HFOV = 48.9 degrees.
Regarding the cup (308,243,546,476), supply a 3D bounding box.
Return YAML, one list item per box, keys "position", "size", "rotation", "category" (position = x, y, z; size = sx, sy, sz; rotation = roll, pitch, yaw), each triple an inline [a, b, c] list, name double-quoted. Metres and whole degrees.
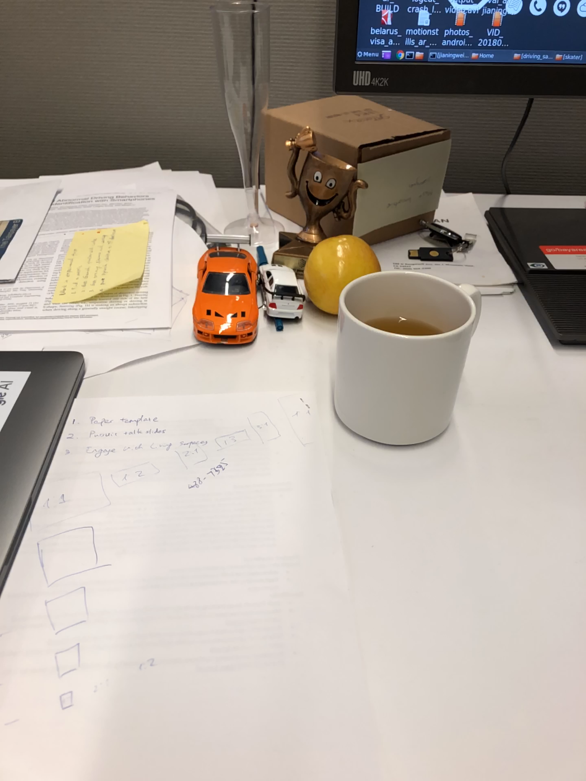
- position: [0.082, -0.025, 0.404]
  size: [0.120, 0.080, 0.080]
  rotation: [-29, 47, -34]
  category: "cup"
